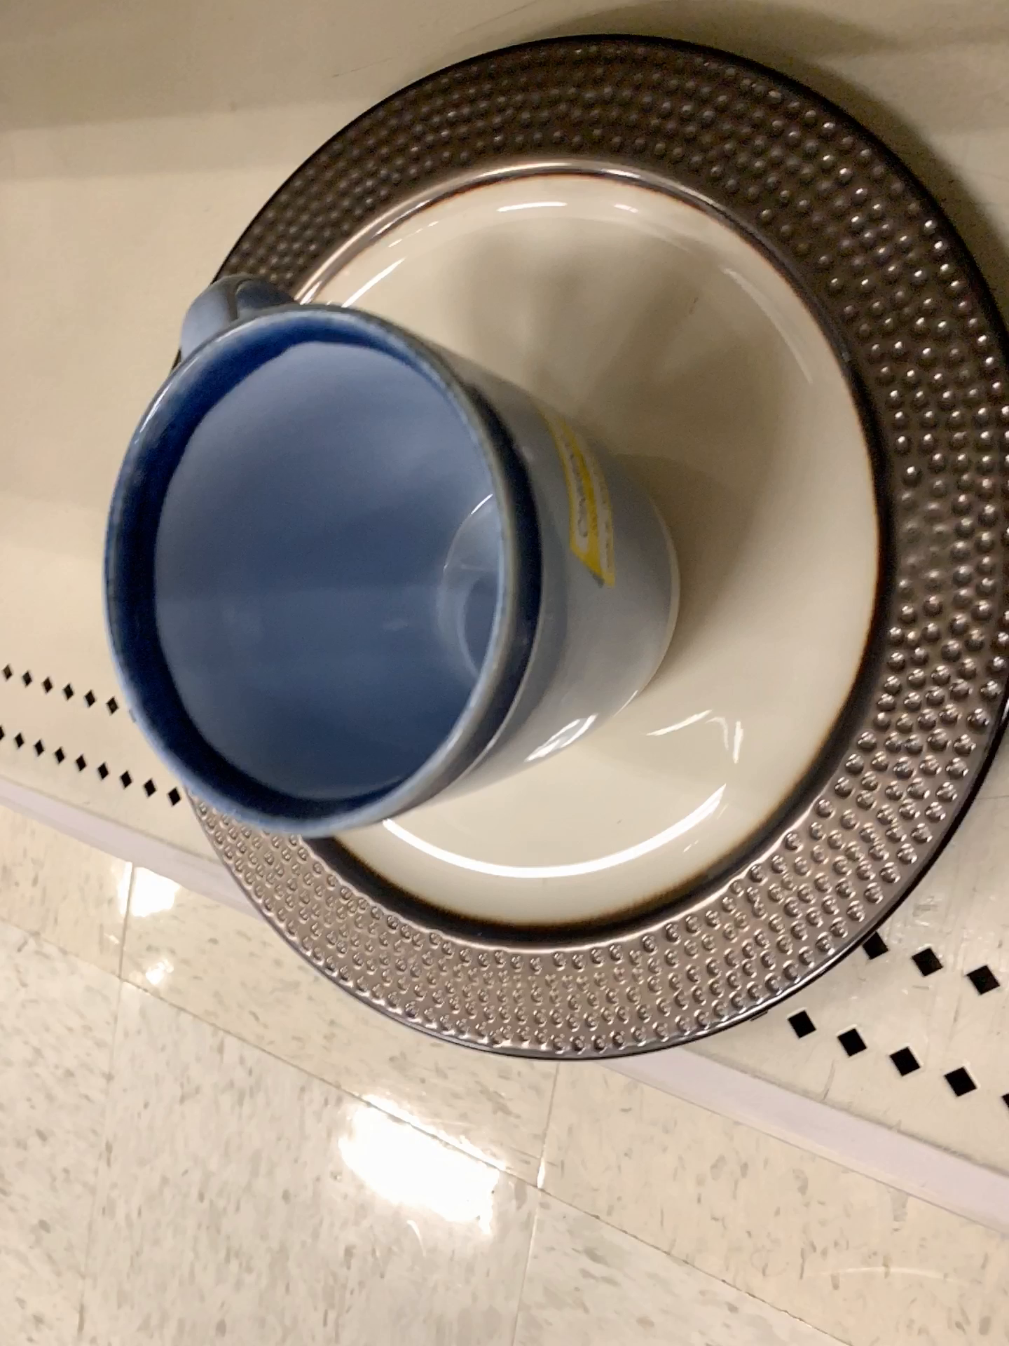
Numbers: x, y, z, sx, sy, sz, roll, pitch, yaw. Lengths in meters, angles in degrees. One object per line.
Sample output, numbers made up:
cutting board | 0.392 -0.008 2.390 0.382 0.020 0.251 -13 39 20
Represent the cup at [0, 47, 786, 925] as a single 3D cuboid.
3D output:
cup | -0.025 -0.033 0.230 0.094 0.094 0.128 -36 74 28
